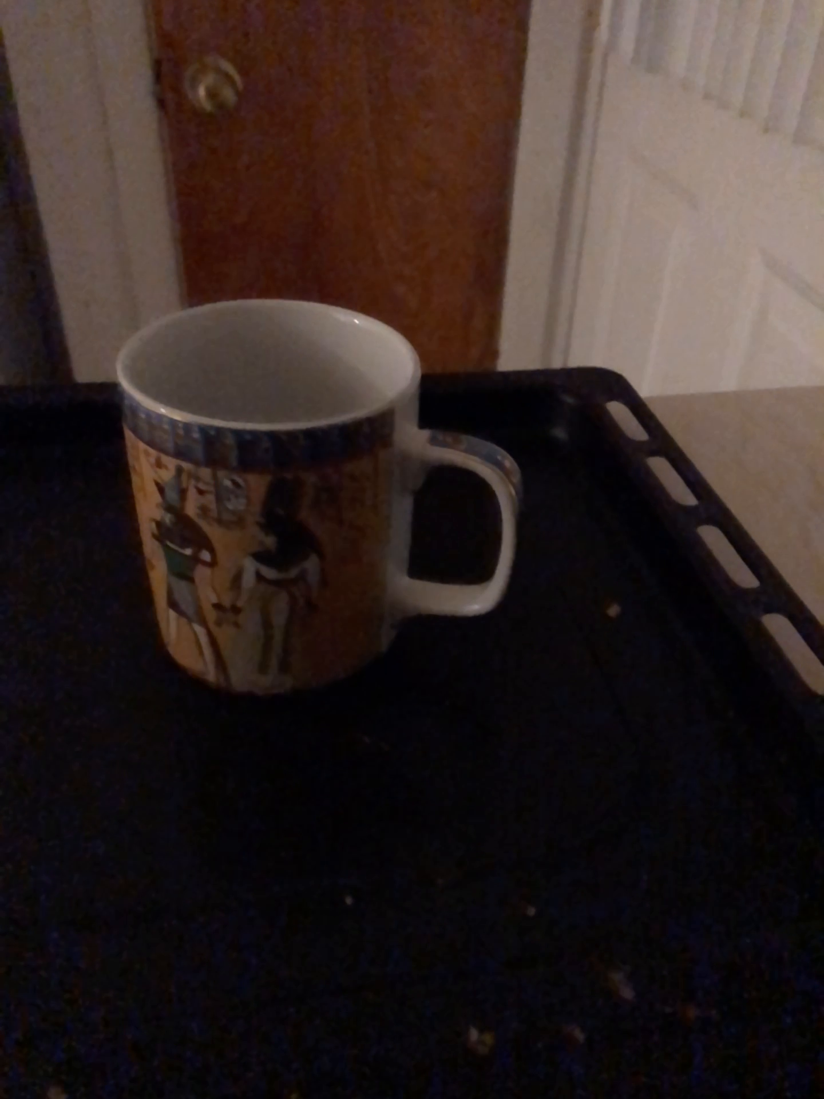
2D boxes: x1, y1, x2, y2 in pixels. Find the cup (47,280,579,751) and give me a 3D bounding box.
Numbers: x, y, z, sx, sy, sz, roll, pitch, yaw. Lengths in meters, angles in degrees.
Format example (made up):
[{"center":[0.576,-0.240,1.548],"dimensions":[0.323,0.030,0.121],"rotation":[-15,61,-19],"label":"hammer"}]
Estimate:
[{"center":[-0.021,-0.014,0.267],"dimensions":[0.120,0.089,0.081],"rotation":[10,38,9],"label":"cup"}]
